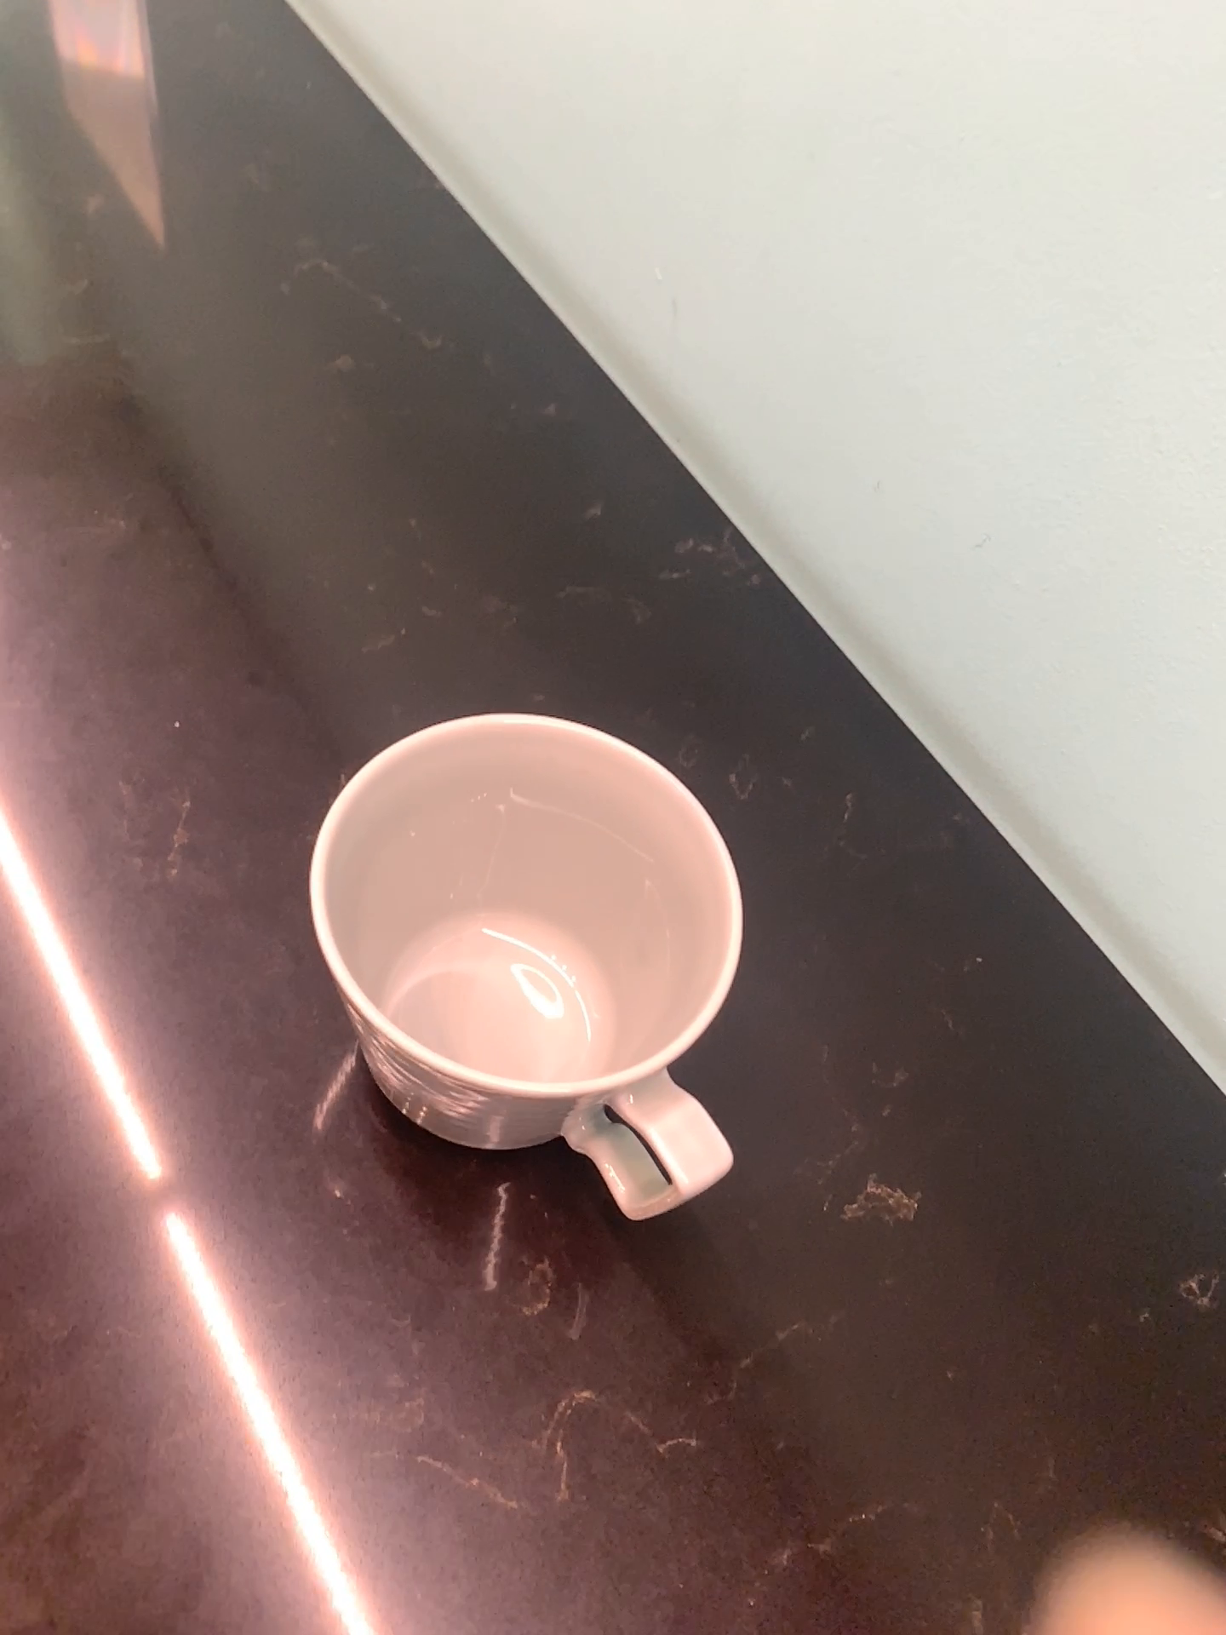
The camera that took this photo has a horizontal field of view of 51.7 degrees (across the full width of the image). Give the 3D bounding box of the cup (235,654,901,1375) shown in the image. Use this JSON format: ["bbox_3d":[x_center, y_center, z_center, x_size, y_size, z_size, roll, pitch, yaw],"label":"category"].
[{"bbox_3d":[-0.018,0.046,0.321,0.100,0.080,0.130,-24,65,-25],"label":"cup"}]
